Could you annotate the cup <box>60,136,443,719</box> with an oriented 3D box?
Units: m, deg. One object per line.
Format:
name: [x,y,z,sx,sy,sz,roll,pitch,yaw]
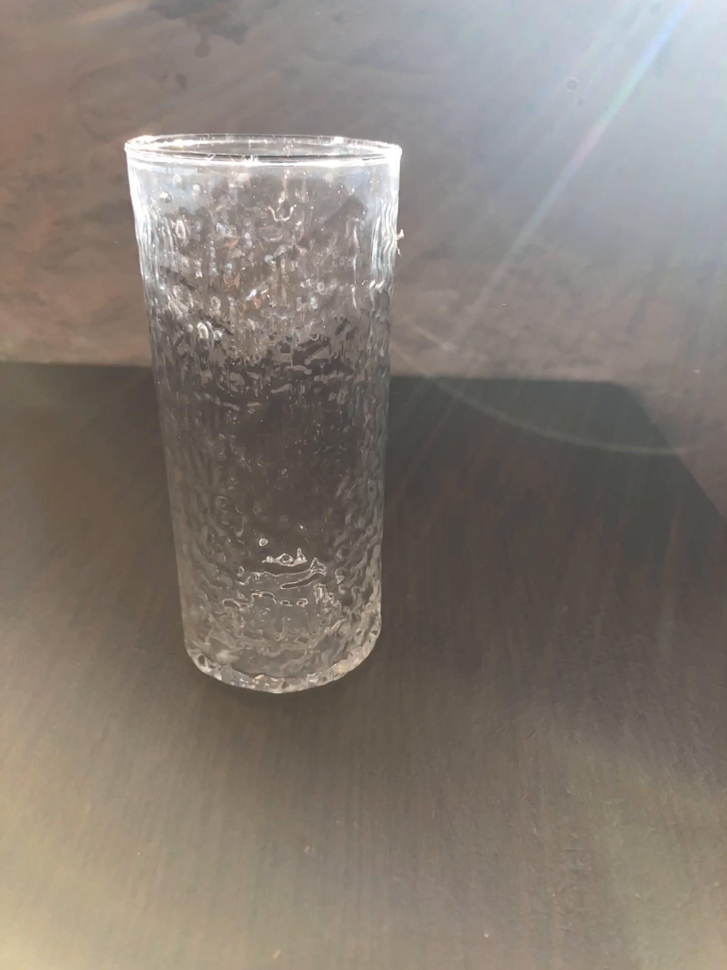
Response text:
cup: [-0.021,-0.018,0.212,0.070,0.130,0.068,1,25,-1]
